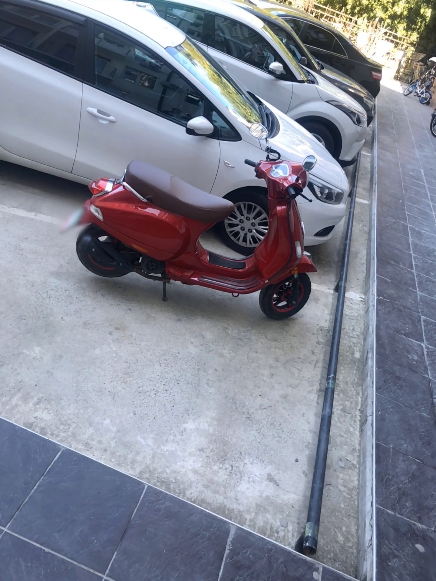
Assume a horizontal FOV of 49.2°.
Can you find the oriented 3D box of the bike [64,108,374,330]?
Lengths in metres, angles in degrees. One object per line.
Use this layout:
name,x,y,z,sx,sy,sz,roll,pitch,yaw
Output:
bike,-0.026,-0.405,3.005,1.594,0.950,0.537,11,34,-12
